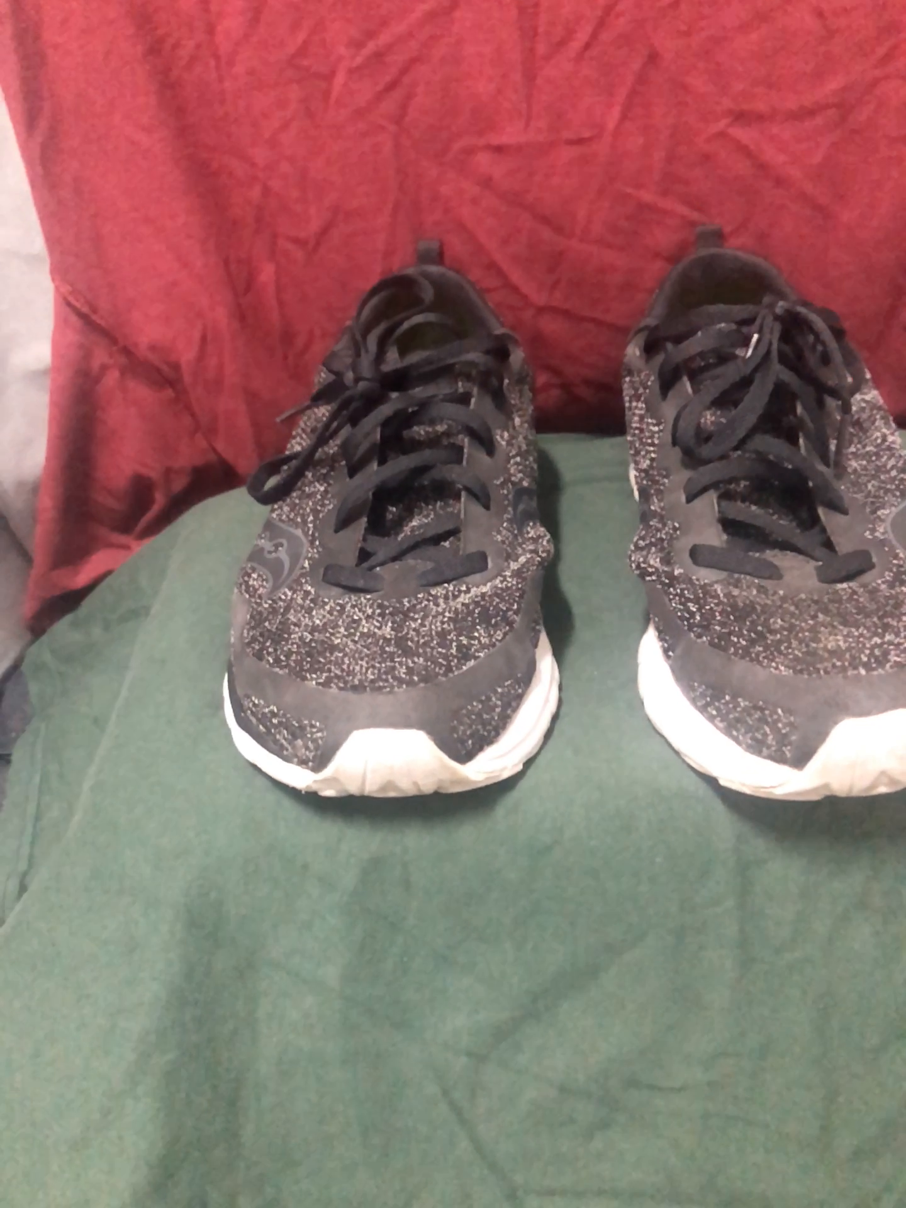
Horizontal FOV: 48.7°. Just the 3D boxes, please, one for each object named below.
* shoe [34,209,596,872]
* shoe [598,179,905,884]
[{"bbox_3d":[-0.022,-0.048,0.358,0.120,0.099,0.273,-5,34,7],"label":"shoe"},{"bbox_3d":[0.116,-0.048,0.327,0.120,0.099,0.262,-4,34,9],"label":"shoe"}]
